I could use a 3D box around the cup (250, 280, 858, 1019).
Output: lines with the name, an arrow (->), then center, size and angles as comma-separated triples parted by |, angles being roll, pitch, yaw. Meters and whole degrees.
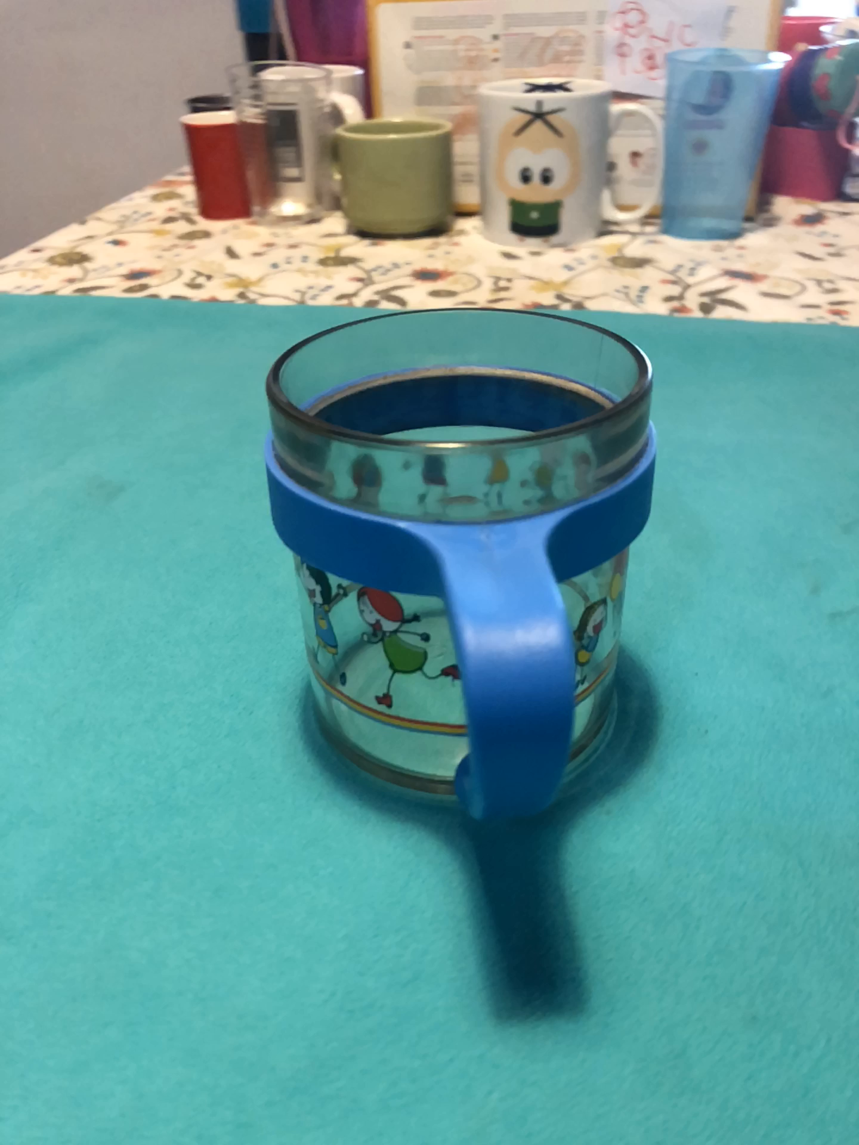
cup -> 0.017, 0.003, 0.204 | 0.090, 0.089, 0.131 | -4, 33, -3
